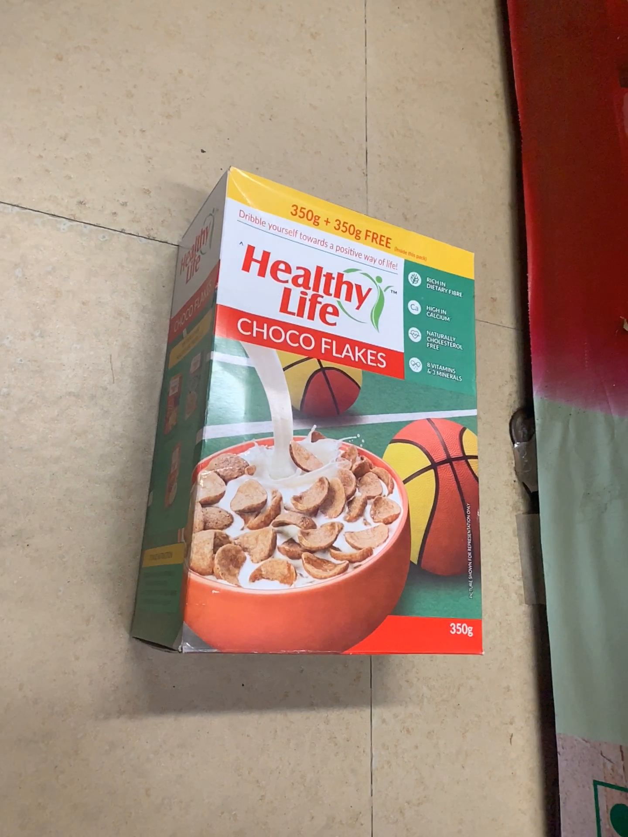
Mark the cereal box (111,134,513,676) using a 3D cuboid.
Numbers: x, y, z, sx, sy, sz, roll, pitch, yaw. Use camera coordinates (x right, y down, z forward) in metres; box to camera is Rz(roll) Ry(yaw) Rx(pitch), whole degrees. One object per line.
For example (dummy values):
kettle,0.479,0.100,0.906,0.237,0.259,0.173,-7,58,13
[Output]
cereal box,0.003,0.006,0.406,0.200,0.110,0.280,11,71,-26
